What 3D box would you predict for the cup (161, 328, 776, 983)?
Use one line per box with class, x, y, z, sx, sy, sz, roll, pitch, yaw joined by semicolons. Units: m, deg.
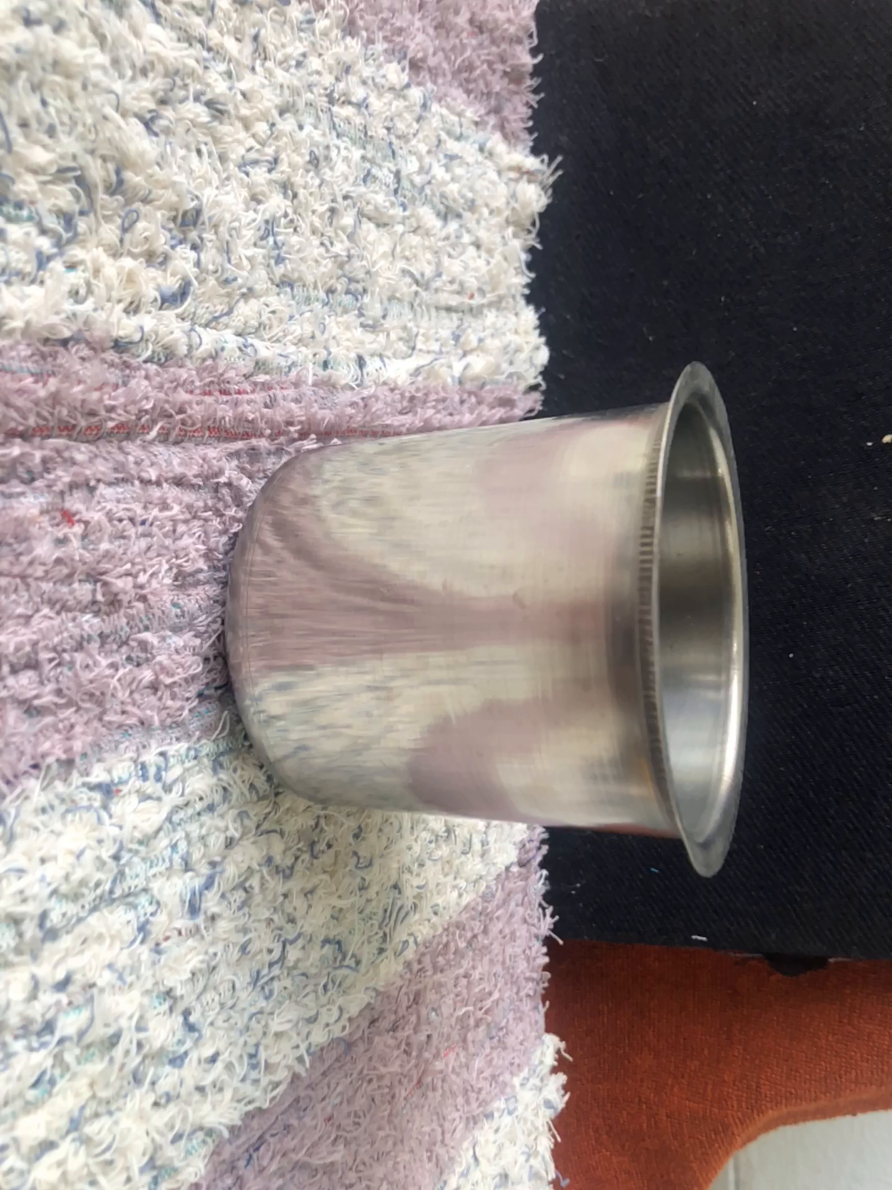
cup;0.013;0.011;0.218;0.101;0.099;0.100;1;90;-65
